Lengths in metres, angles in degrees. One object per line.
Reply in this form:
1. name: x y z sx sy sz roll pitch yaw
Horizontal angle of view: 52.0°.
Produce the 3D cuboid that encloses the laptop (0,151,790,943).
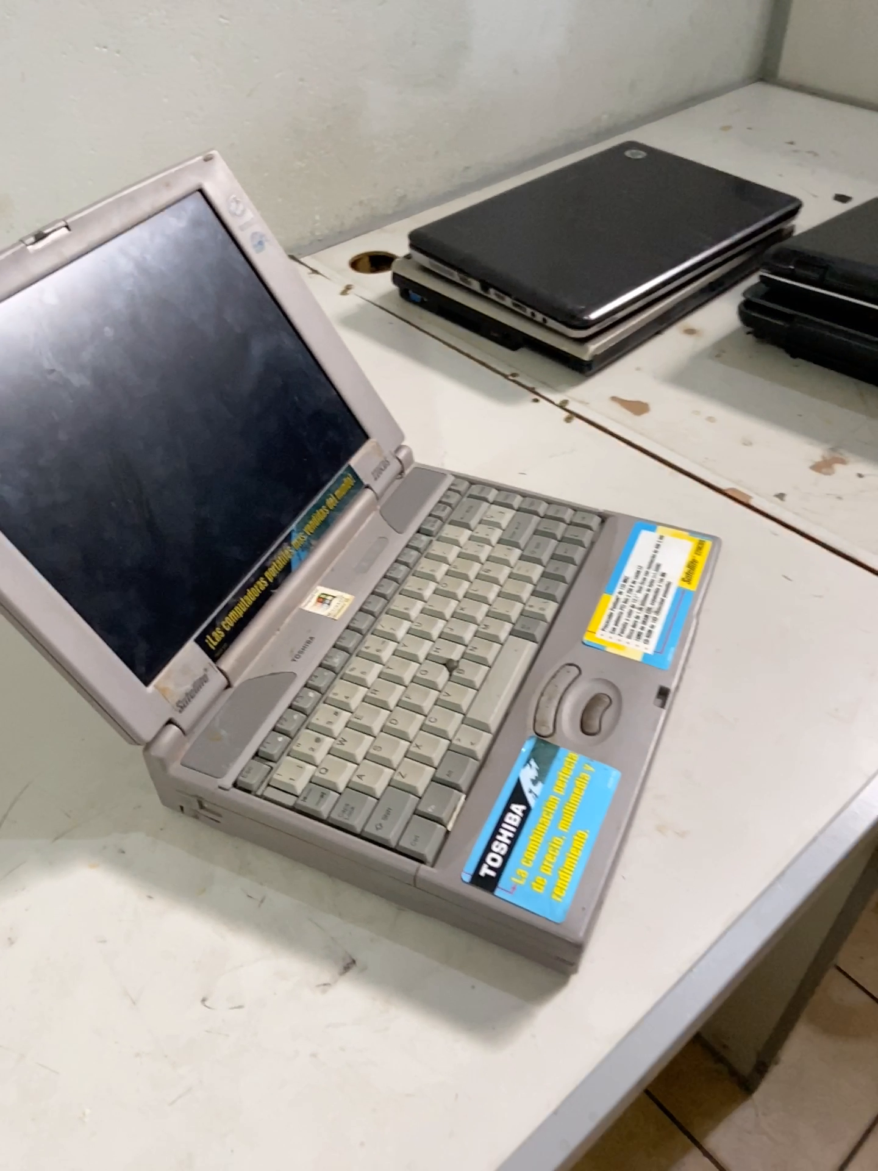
1. laptop: -0.044 -0.059 0.483 0.358 0.195 0.302 17 46 18
